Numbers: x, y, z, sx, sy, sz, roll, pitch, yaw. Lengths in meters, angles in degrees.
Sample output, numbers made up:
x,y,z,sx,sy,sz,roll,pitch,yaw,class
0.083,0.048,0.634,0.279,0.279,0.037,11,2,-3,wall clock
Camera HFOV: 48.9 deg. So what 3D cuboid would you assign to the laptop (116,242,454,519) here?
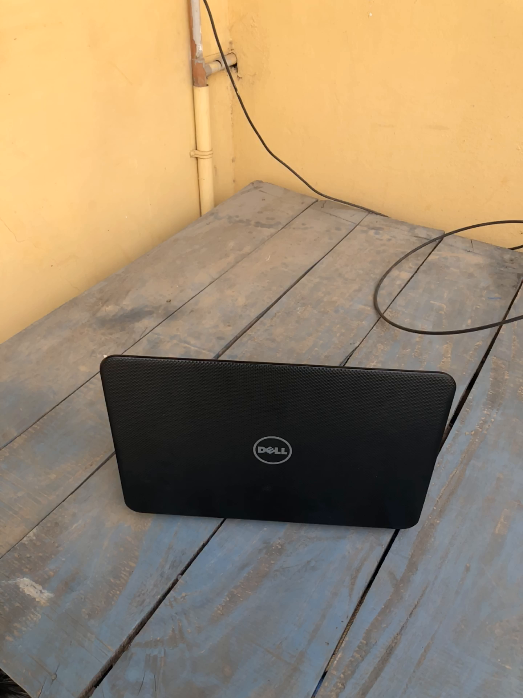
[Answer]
x,y,z,sx,sy,sz,roll,pitch,yaw,class
0.035,0.035,0.735,0.340,0.234,0.226,3,39,4,laptop
